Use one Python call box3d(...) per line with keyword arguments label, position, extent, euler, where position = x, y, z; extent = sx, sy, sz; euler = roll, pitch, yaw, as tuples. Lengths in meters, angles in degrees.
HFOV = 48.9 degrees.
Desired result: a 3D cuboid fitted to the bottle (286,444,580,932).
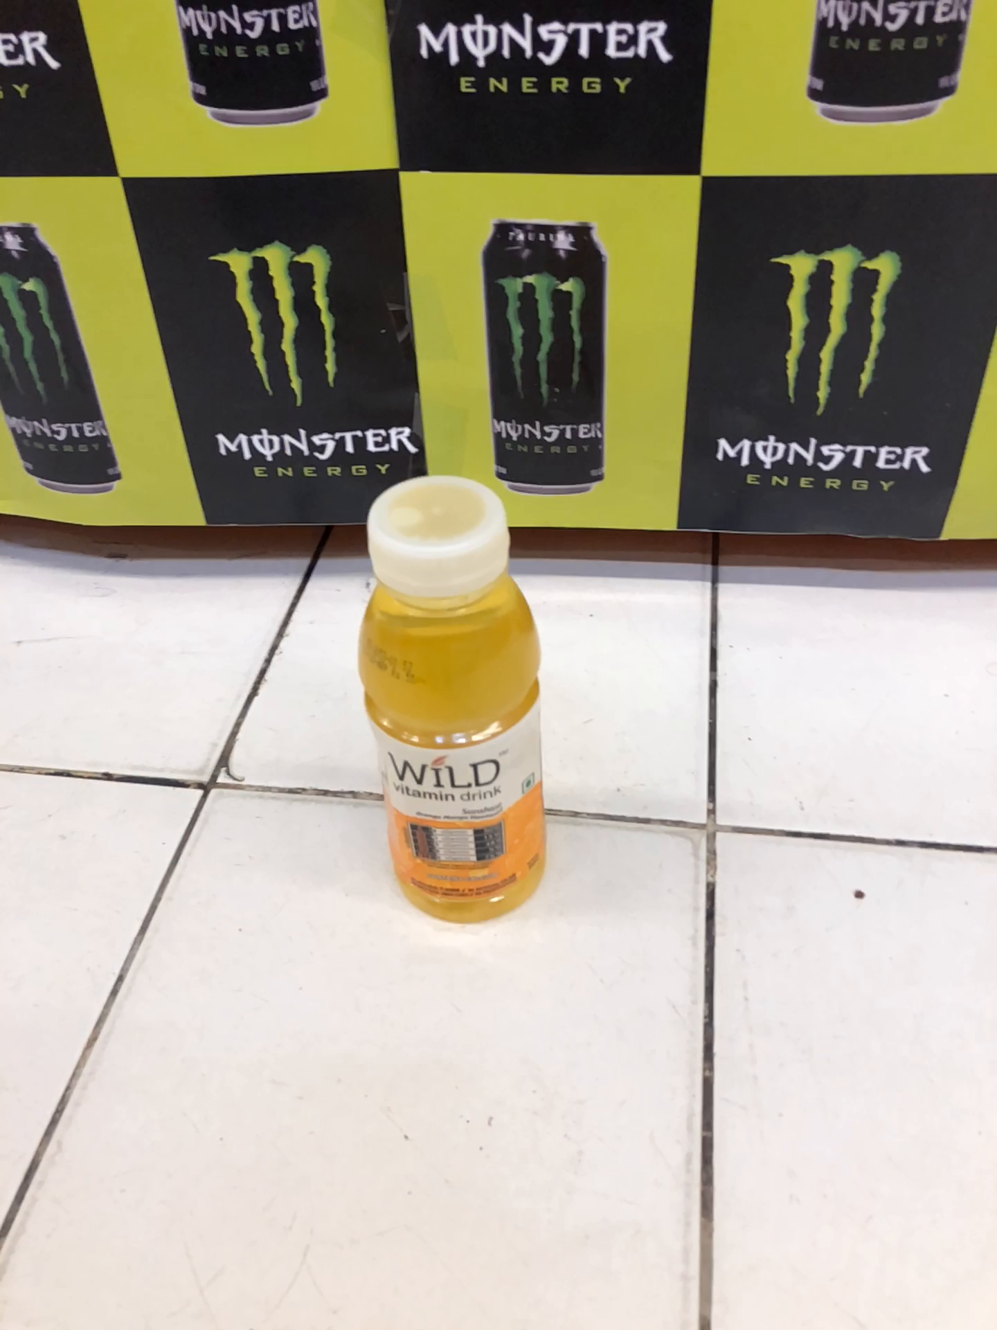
box3d(label="bottle", position=(-0.012, 0.011, 0.344), extent=(0.070, 0.139, 0.070), euler=(-2, 41, 2))
